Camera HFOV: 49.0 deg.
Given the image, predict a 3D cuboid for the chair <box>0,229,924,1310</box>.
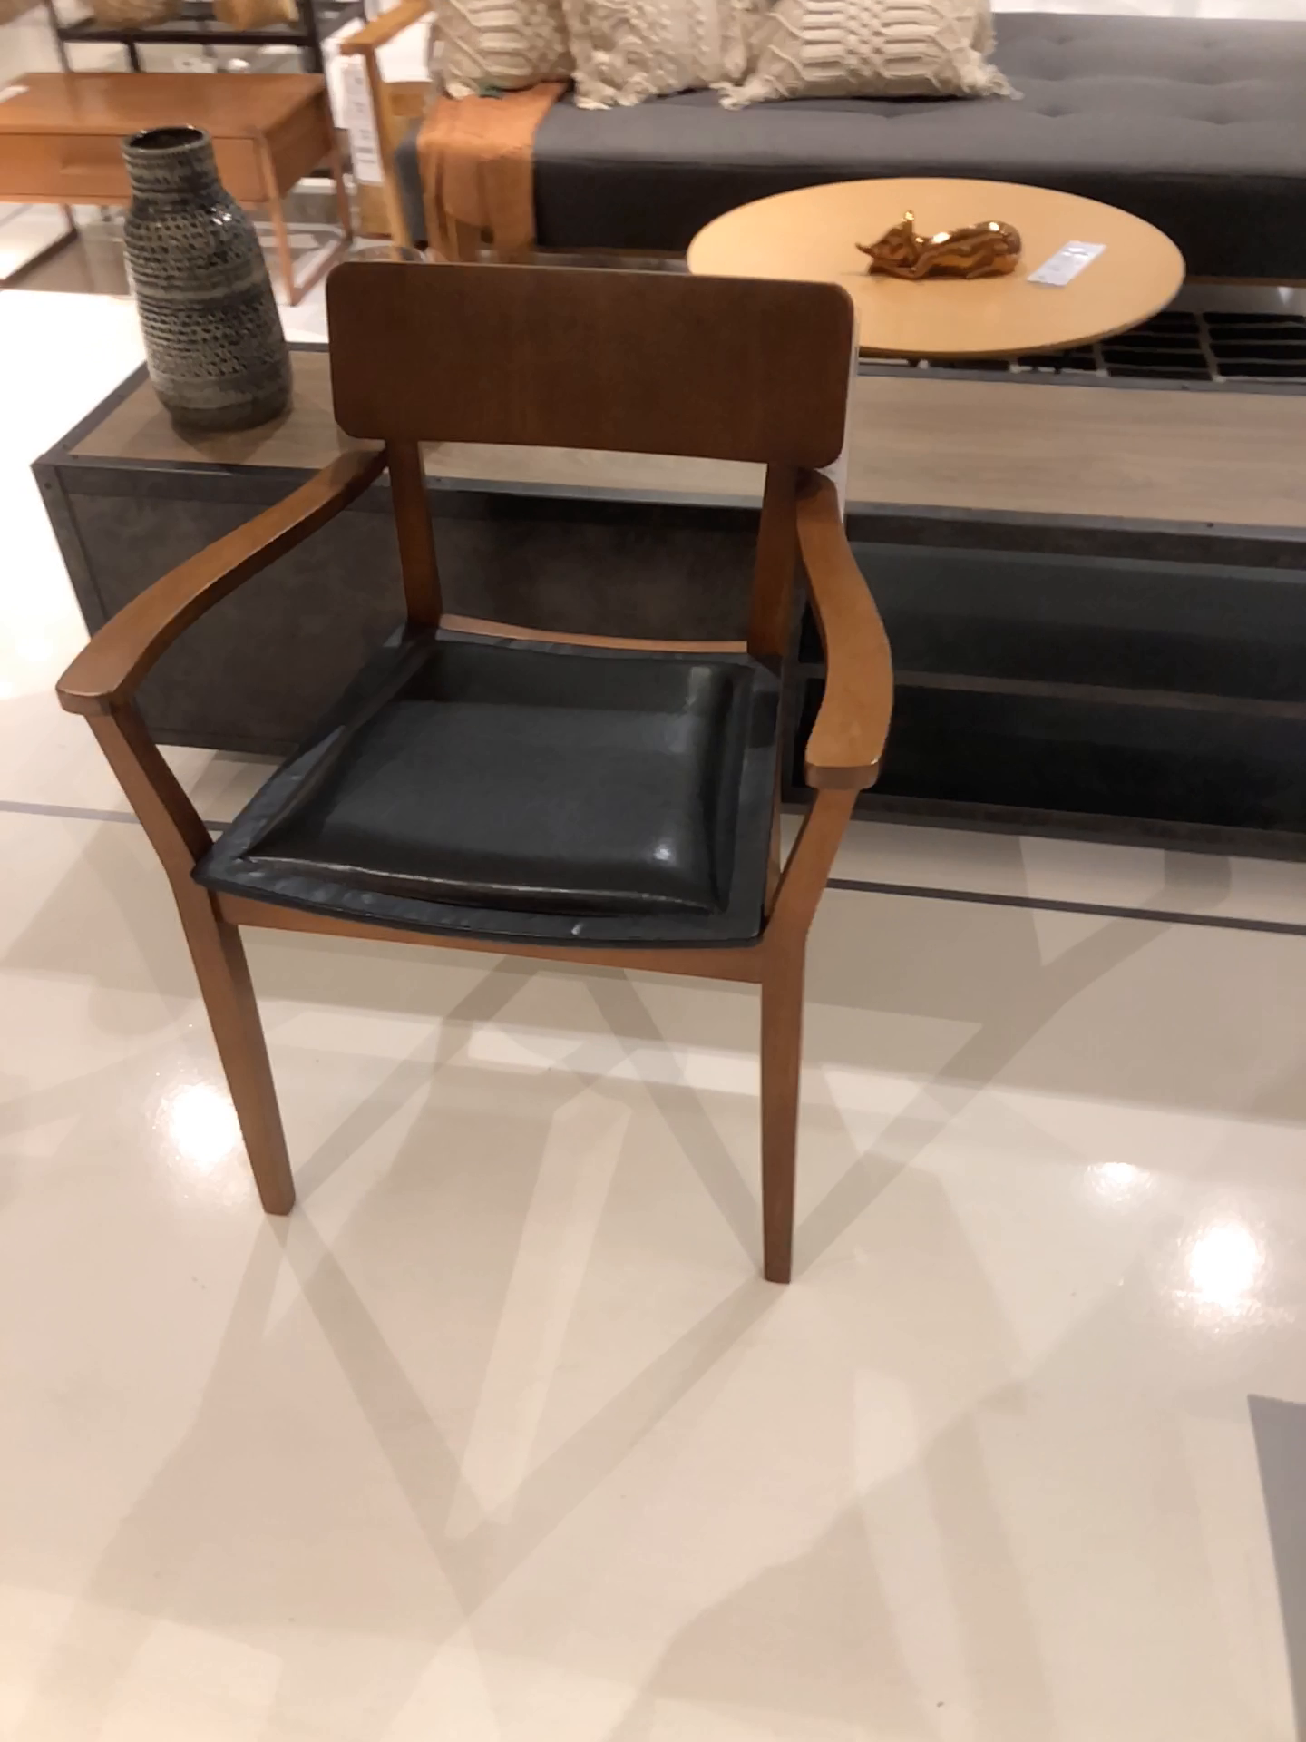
[{"bbox_3d":[-0.082,-0.096,1.311,0.560,0.744,0.574,6,42,9],"label":"chair"}]
